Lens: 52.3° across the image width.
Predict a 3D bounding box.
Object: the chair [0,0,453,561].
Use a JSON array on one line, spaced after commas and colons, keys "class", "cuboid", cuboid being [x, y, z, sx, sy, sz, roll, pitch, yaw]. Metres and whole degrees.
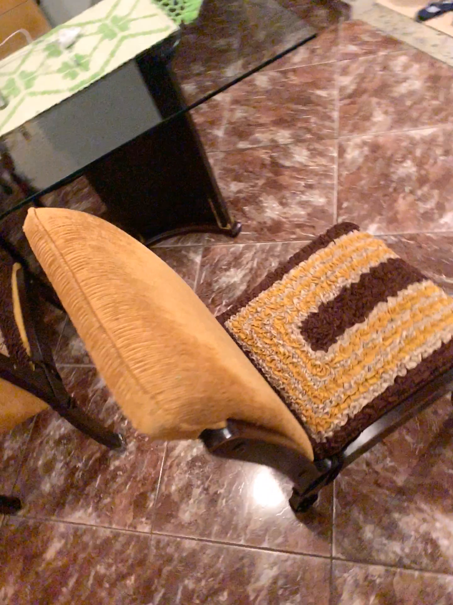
[{"class": "chair", "cuboid": [0.166, 0.041, 0.916, 0.600, 0.937, 0.562, -37, 57, -6]}]
